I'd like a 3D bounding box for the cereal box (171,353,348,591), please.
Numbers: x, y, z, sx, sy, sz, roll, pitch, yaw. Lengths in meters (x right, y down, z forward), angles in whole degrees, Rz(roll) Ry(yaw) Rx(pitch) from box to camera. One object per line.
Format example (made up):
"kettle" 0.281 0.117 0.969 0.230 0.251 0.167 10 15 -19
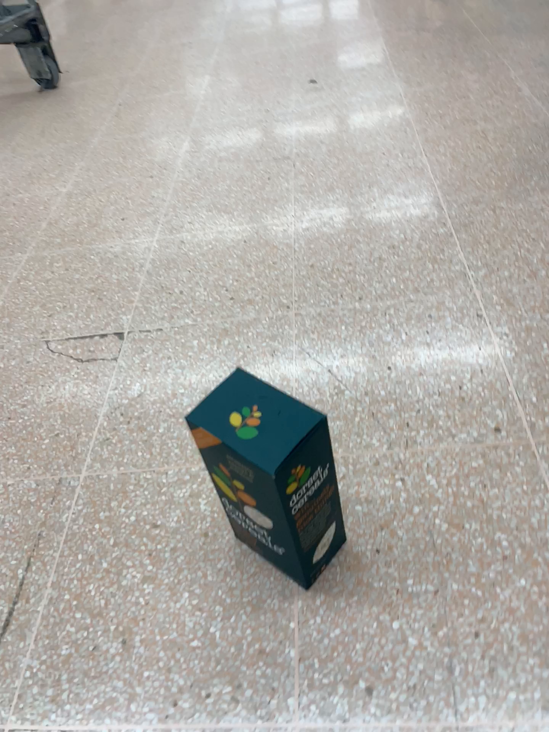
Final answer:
"cereal box" -0.005 0.117 0.580 0.121 0.238 0.080 27 57 33
